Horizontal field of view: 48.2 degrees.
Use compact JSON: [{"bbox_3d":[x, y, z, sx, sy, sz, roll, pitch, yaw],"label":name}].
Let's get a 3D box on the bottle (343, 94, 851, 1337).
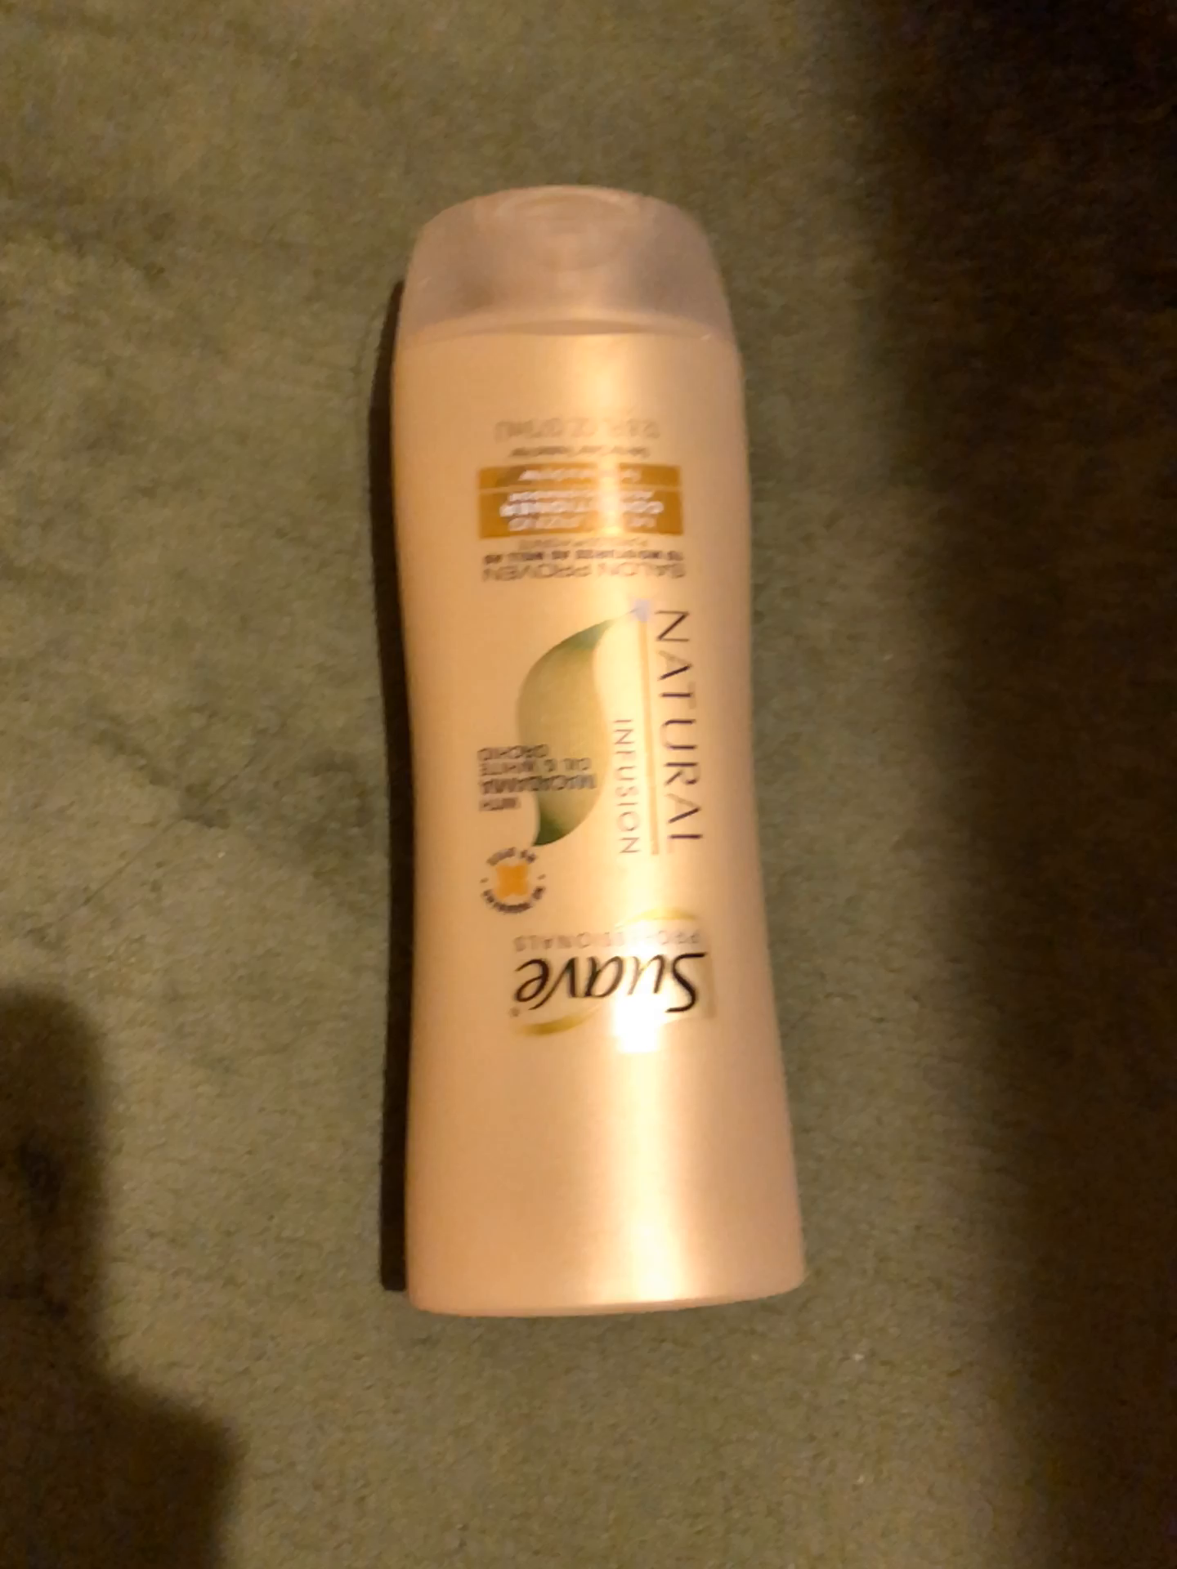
[{"bbox_3d":[-0.003,-0.017,0.255,0.080,0.050,0.220,-2,81,-4],"label":"bottle"}]
